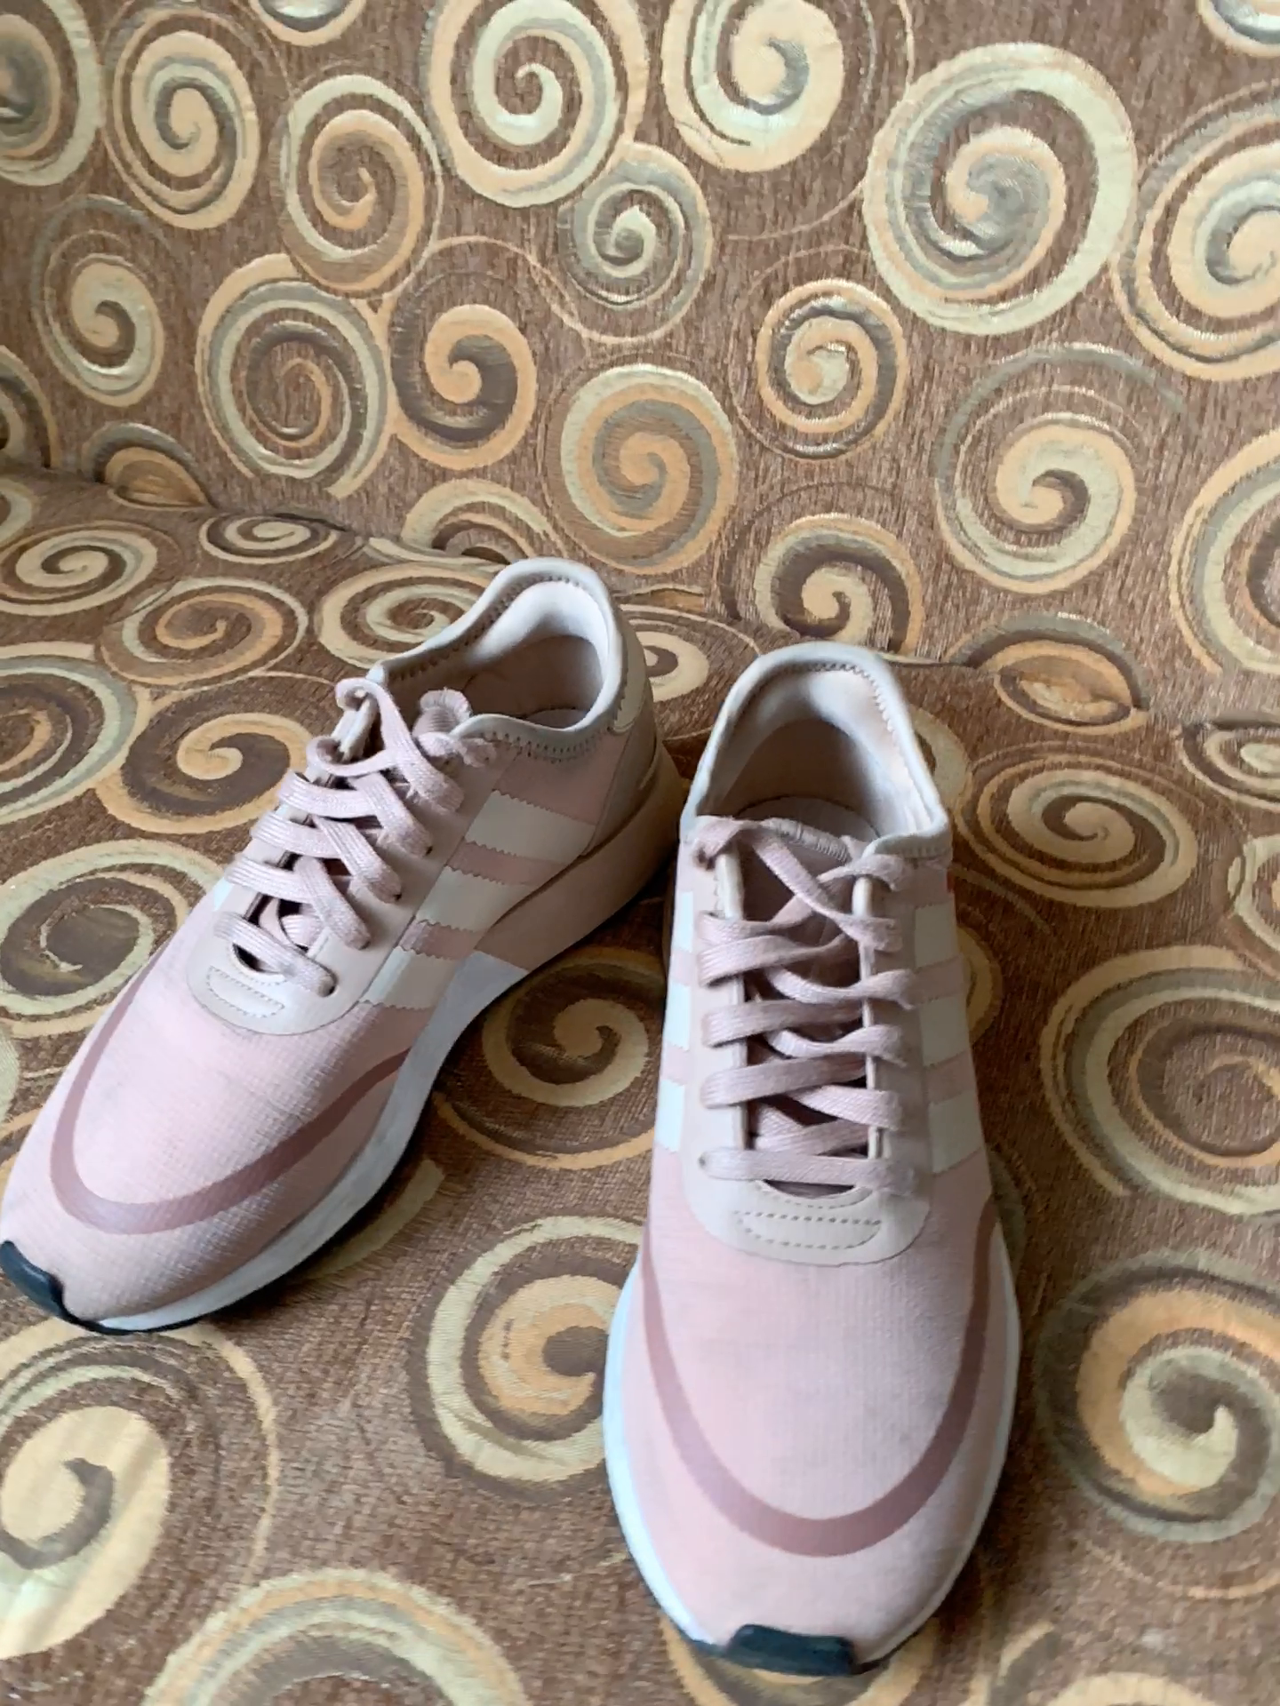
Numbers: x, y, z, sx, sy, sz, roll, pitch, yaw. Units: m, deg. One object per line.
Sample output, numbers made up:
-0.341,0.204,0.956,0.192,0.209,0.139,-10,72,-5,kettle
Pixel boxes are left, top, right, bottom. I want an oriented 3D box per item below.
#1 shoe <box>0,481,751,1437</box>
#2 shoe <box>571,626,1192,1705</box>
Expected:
-0.078,0.010,0.366,0.100,0.090,0.251,26,54,23,shoe
0.046,0.058,0.331,0.100,0.090,0.251,1,48,3,shoe
